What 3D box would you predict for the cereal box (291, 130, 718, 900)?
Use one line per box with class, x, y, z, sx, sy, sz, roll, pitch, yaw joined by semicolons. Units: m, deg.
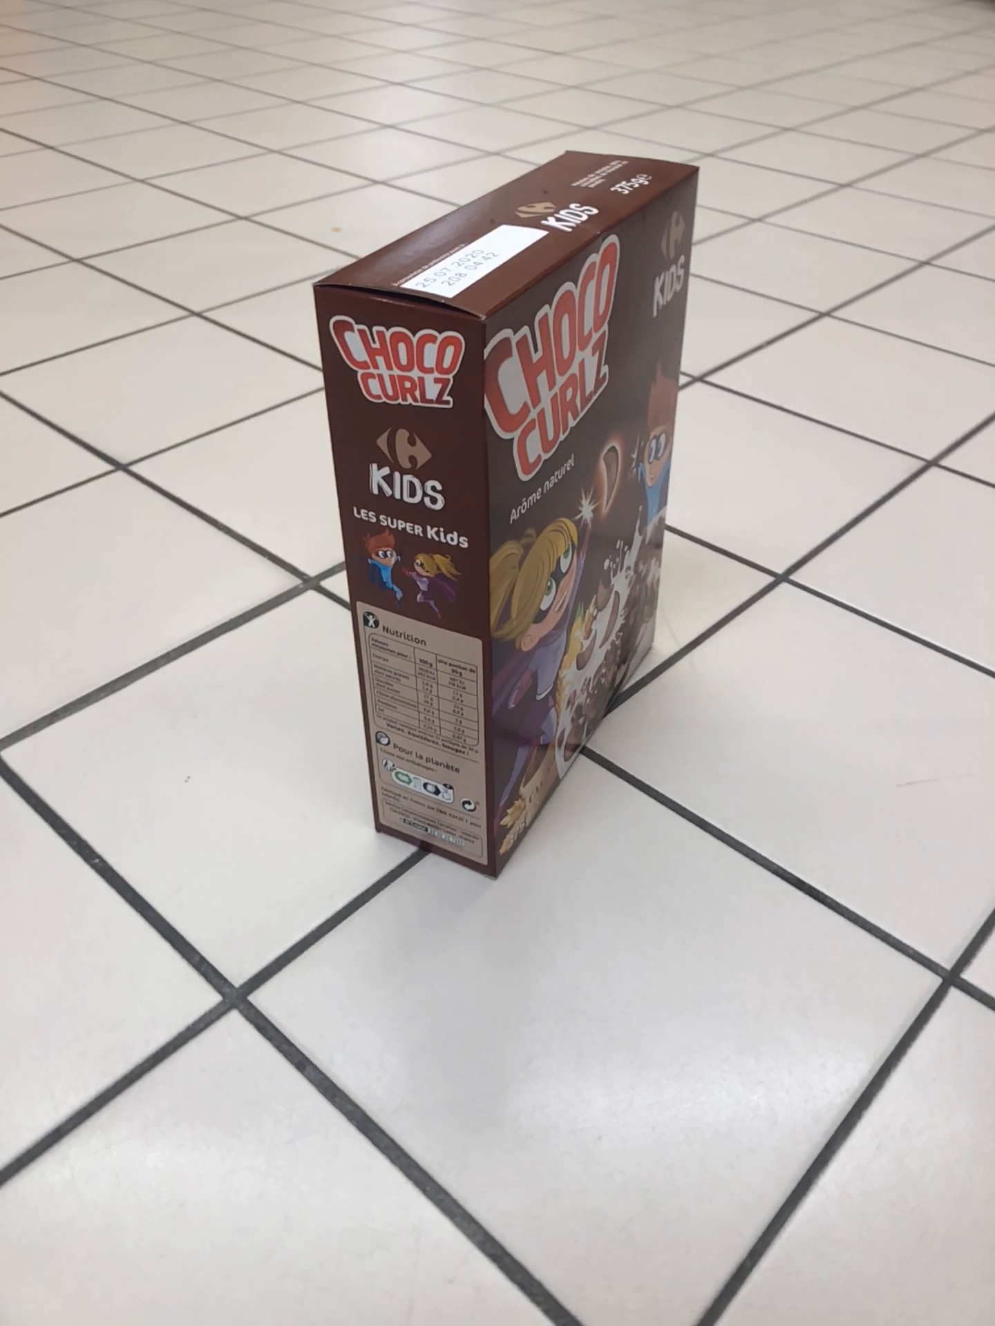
cereal box;0.012;-0.065;0.473;0.070;0.258;0.201;18;41;21
